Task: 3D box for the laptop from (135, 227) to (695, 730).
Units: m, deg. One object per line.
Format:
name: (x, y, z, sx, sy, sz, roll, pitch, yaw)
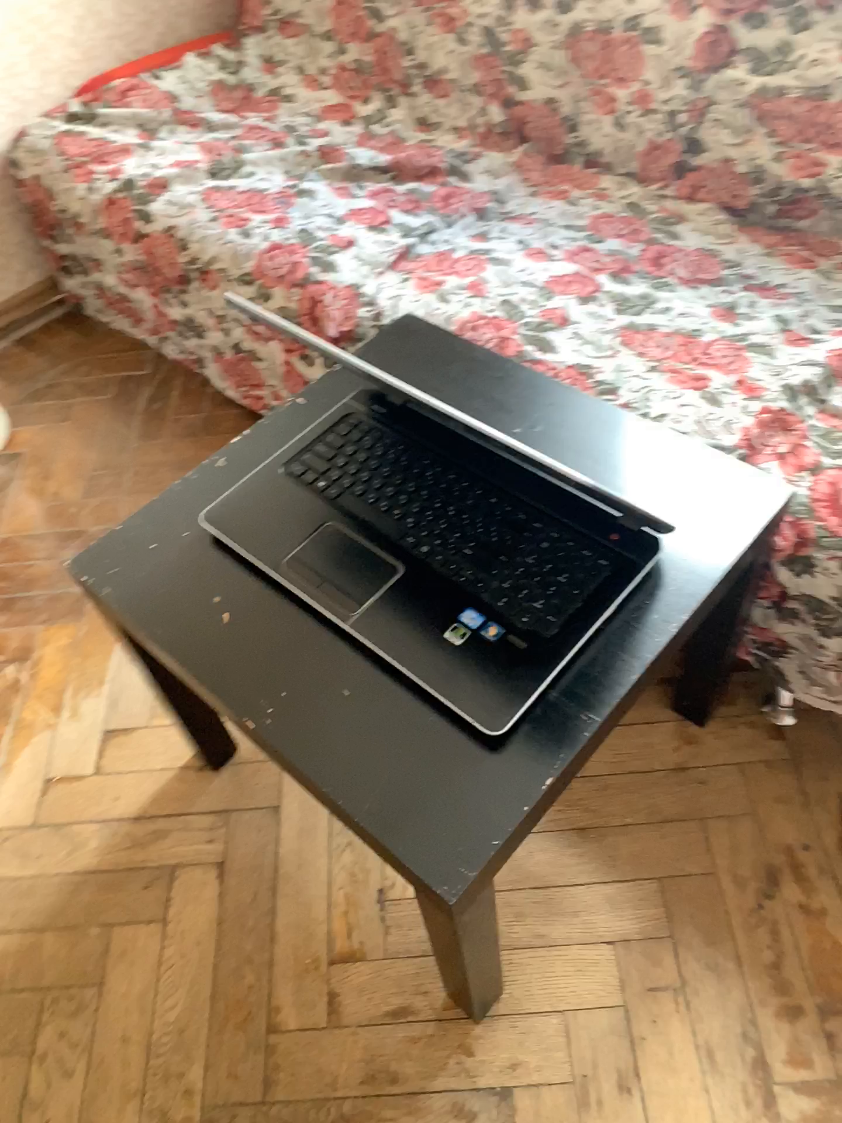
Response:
laptop: (-0.010, -0.098, 0.799, 0.405, 0.201, 0.257, 33, 62, 28)
